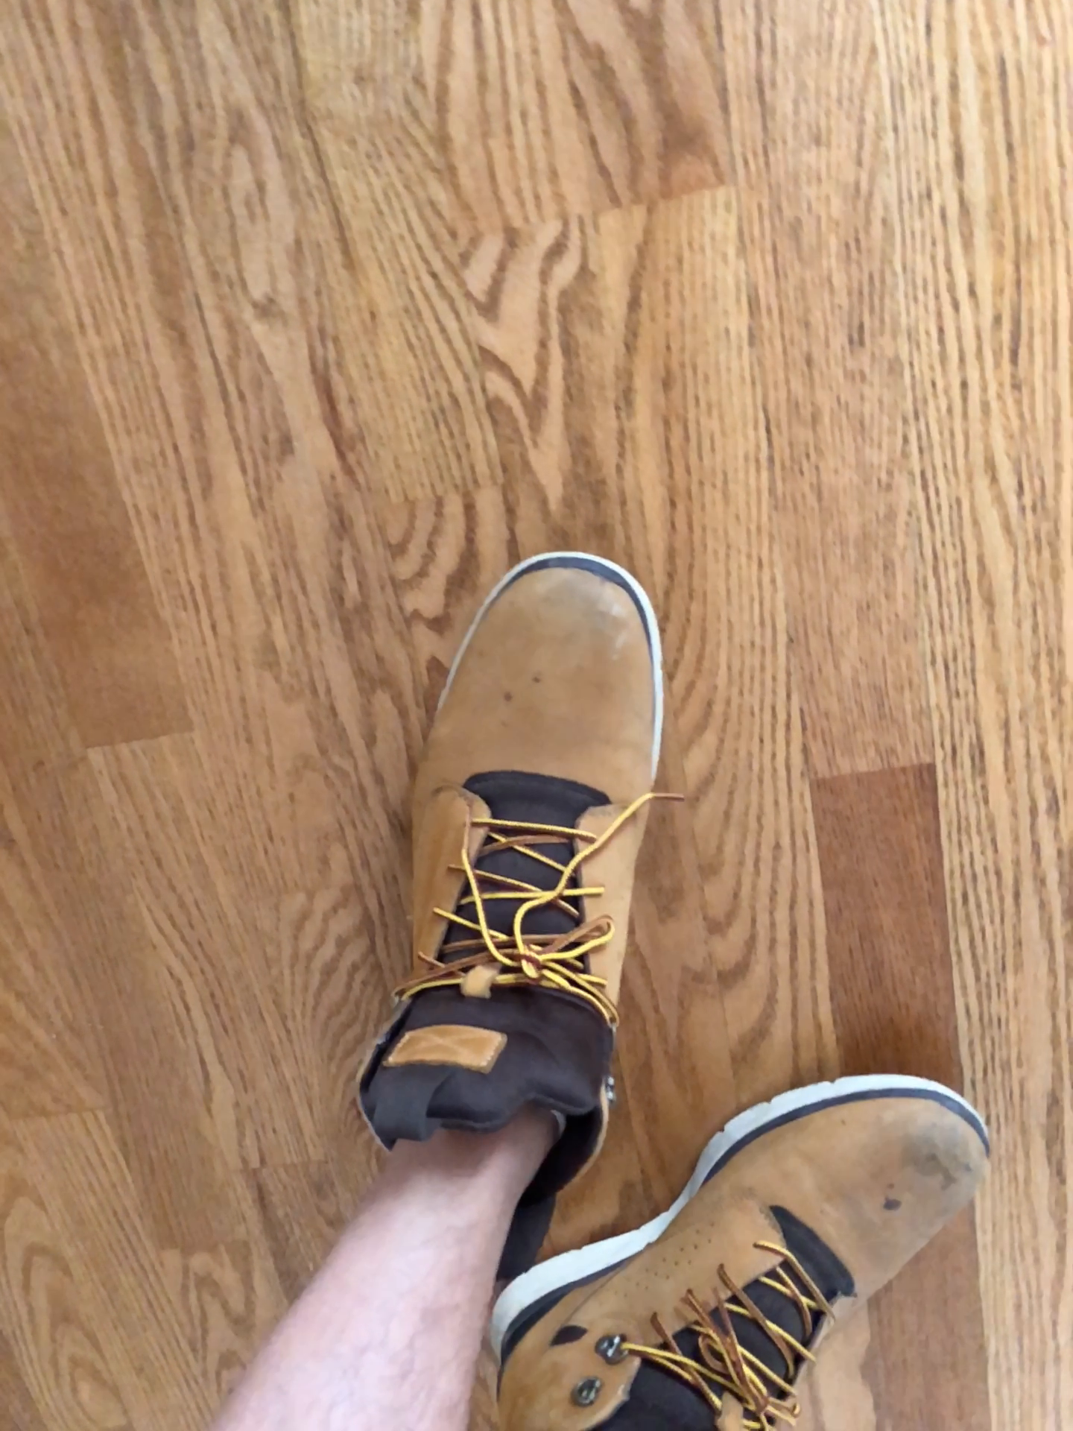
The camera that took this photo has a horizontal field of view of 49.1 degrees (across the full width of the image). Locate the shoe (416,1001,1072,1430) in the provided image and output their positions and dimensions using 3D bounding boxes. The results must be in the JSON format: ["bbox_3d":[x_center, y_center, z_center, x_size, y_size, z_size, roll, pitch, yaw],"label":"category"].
[{"bbox_3d":[0.112,0.303,0.572,0.301,0.170,0.130,-39,100,28],"label":"shoe"}]

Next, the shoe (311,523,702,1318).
[{"bbox_3d":[-0.012,0.080,0.541,0.130,0.140,0.320,6,101,4],"label":"shoe"}]
